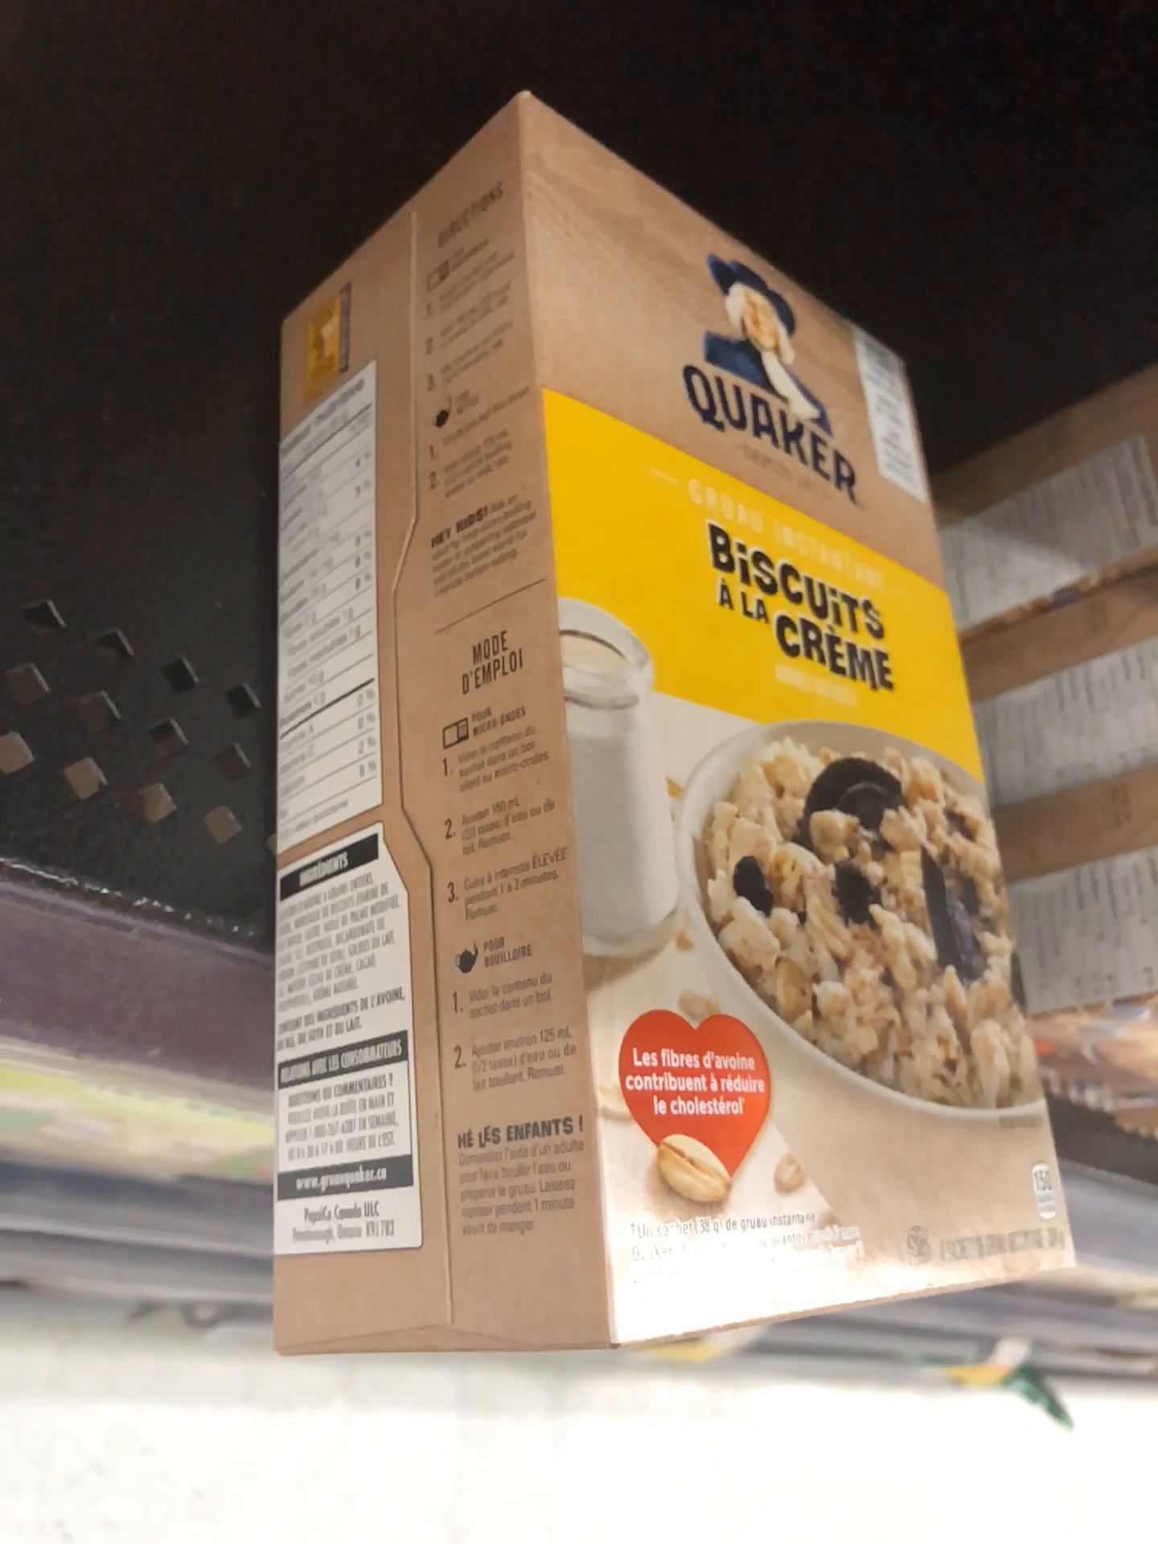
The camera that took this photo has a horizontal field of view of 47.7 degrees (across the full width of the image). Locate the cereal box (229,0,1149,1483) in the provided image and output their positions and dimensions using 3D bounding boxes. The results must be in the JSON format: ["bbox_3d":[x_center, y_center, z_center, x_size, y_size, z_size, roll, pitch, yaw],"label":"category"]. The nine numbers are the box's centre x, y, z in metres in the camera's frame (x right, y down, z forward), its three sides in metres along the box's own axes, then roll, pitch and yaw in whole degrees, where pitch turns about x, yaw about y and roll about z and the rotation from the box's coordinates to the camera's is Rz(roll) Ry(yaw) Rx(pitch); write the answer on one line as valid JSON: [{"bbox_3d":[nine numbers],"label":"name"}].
[{"bbox_3d":[0.019,-0.004,0.239,0.141,0.070,0.210,14,65,-43],"label":"cereal box"}]
